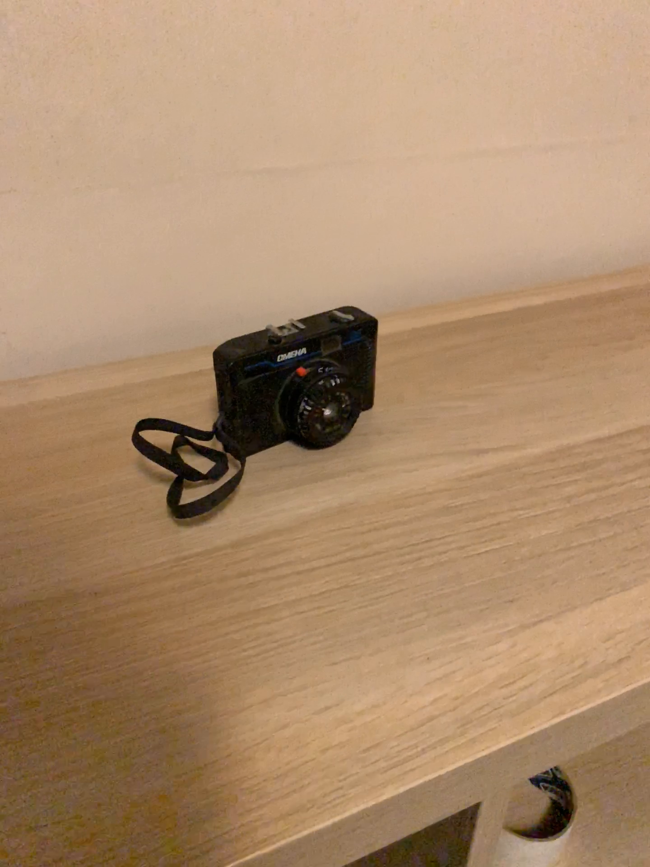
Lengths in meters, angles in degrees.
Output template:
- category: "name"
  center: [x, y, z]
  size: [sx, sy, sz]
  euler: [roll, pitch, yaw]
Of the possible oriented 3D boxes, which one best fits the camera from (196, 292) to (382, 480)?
- category: "camera"
  center: [-0.022, -0.033, 0.440]
  size: [0.110, 0.089, 0.040]
  euler: [-19, 40, -27]
